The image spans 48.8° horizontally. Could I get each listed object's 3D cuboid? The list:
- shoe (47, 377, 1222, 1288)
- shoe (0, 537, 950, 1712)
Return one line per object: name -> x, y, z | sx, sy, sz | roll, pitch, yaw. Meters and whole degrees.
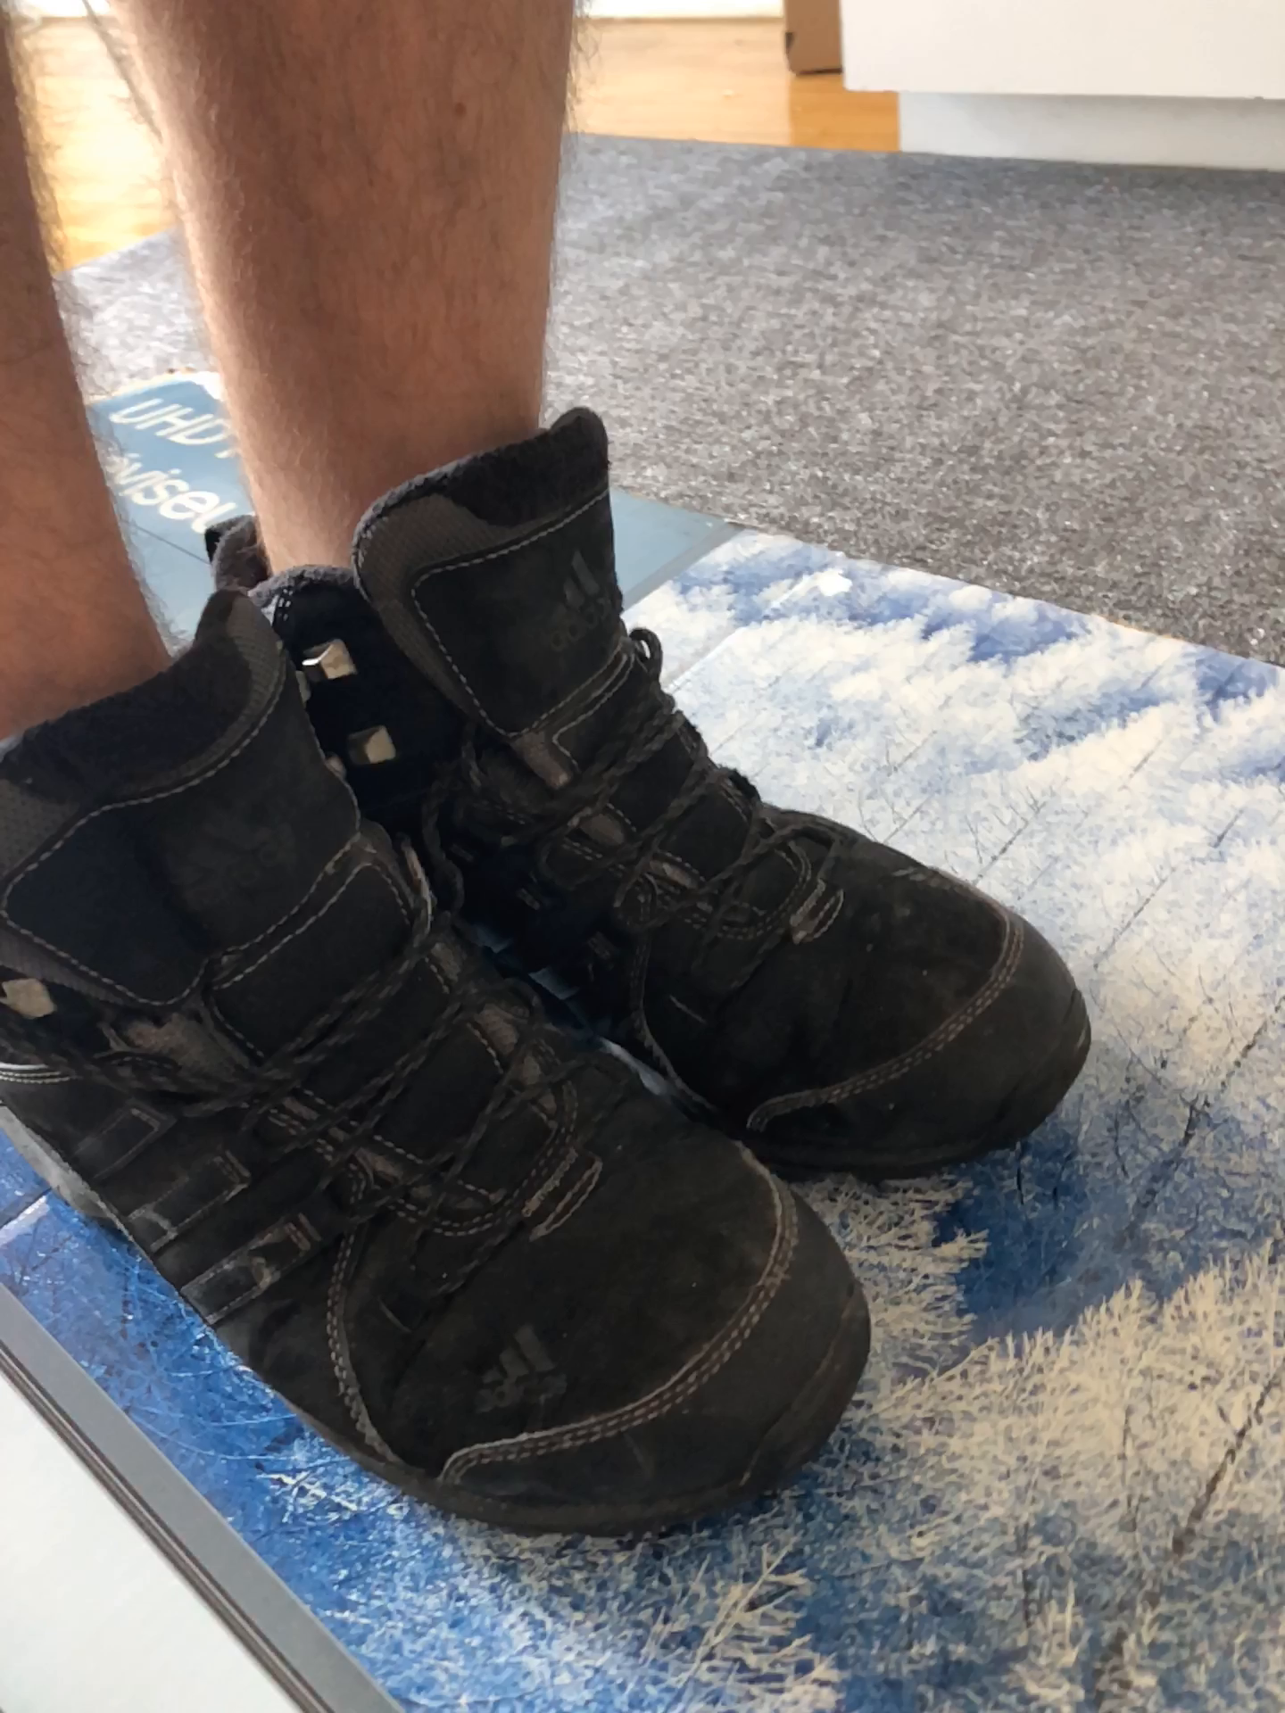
shoe -> -0.004, -0.022, 0.406 | 0.281, 0.169, 0.111 | 16, 46, 29
shoe -> -0.081, 0.045, 0.338 | 0.281, 0.169, 0.111 | 16, 46, 29
